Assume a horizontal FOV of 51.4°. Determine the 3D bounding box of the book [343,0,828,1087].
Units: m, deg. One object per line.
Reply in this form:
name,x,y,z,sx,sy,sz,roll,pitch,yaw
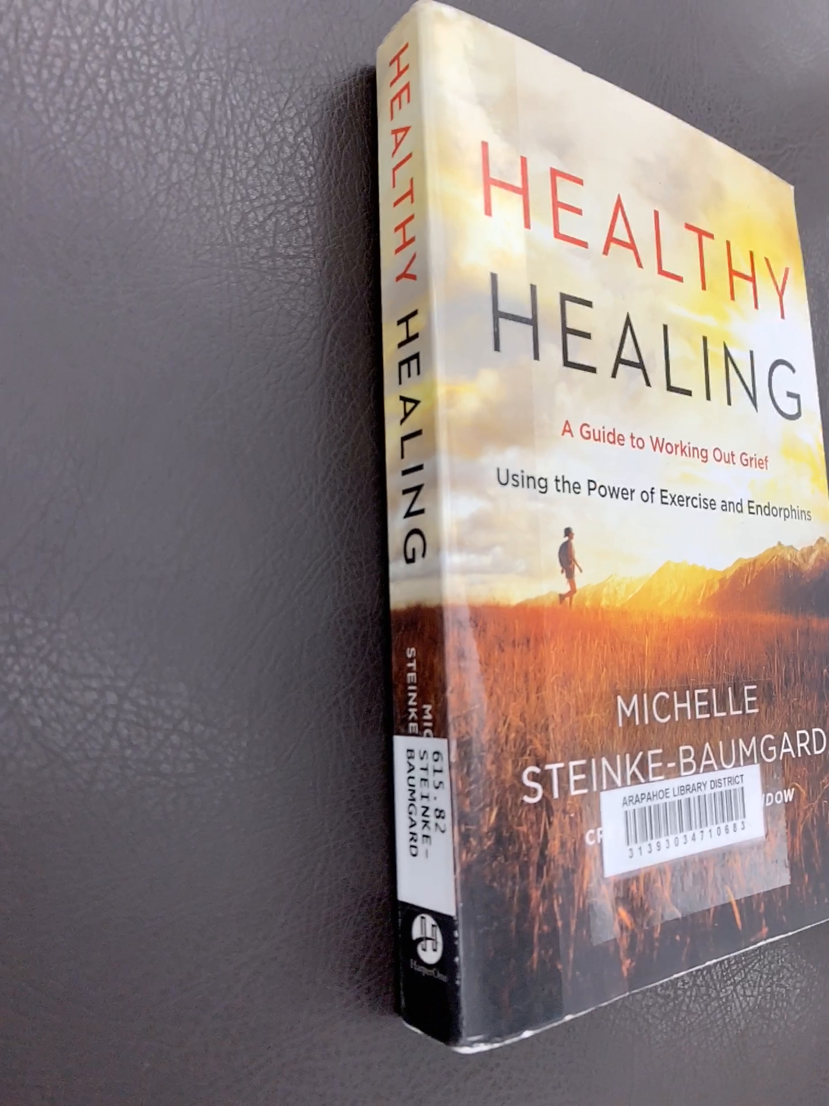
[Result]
book,0.053,-0.013,0.208,0.141,0.027,0.212,4,80,-38
